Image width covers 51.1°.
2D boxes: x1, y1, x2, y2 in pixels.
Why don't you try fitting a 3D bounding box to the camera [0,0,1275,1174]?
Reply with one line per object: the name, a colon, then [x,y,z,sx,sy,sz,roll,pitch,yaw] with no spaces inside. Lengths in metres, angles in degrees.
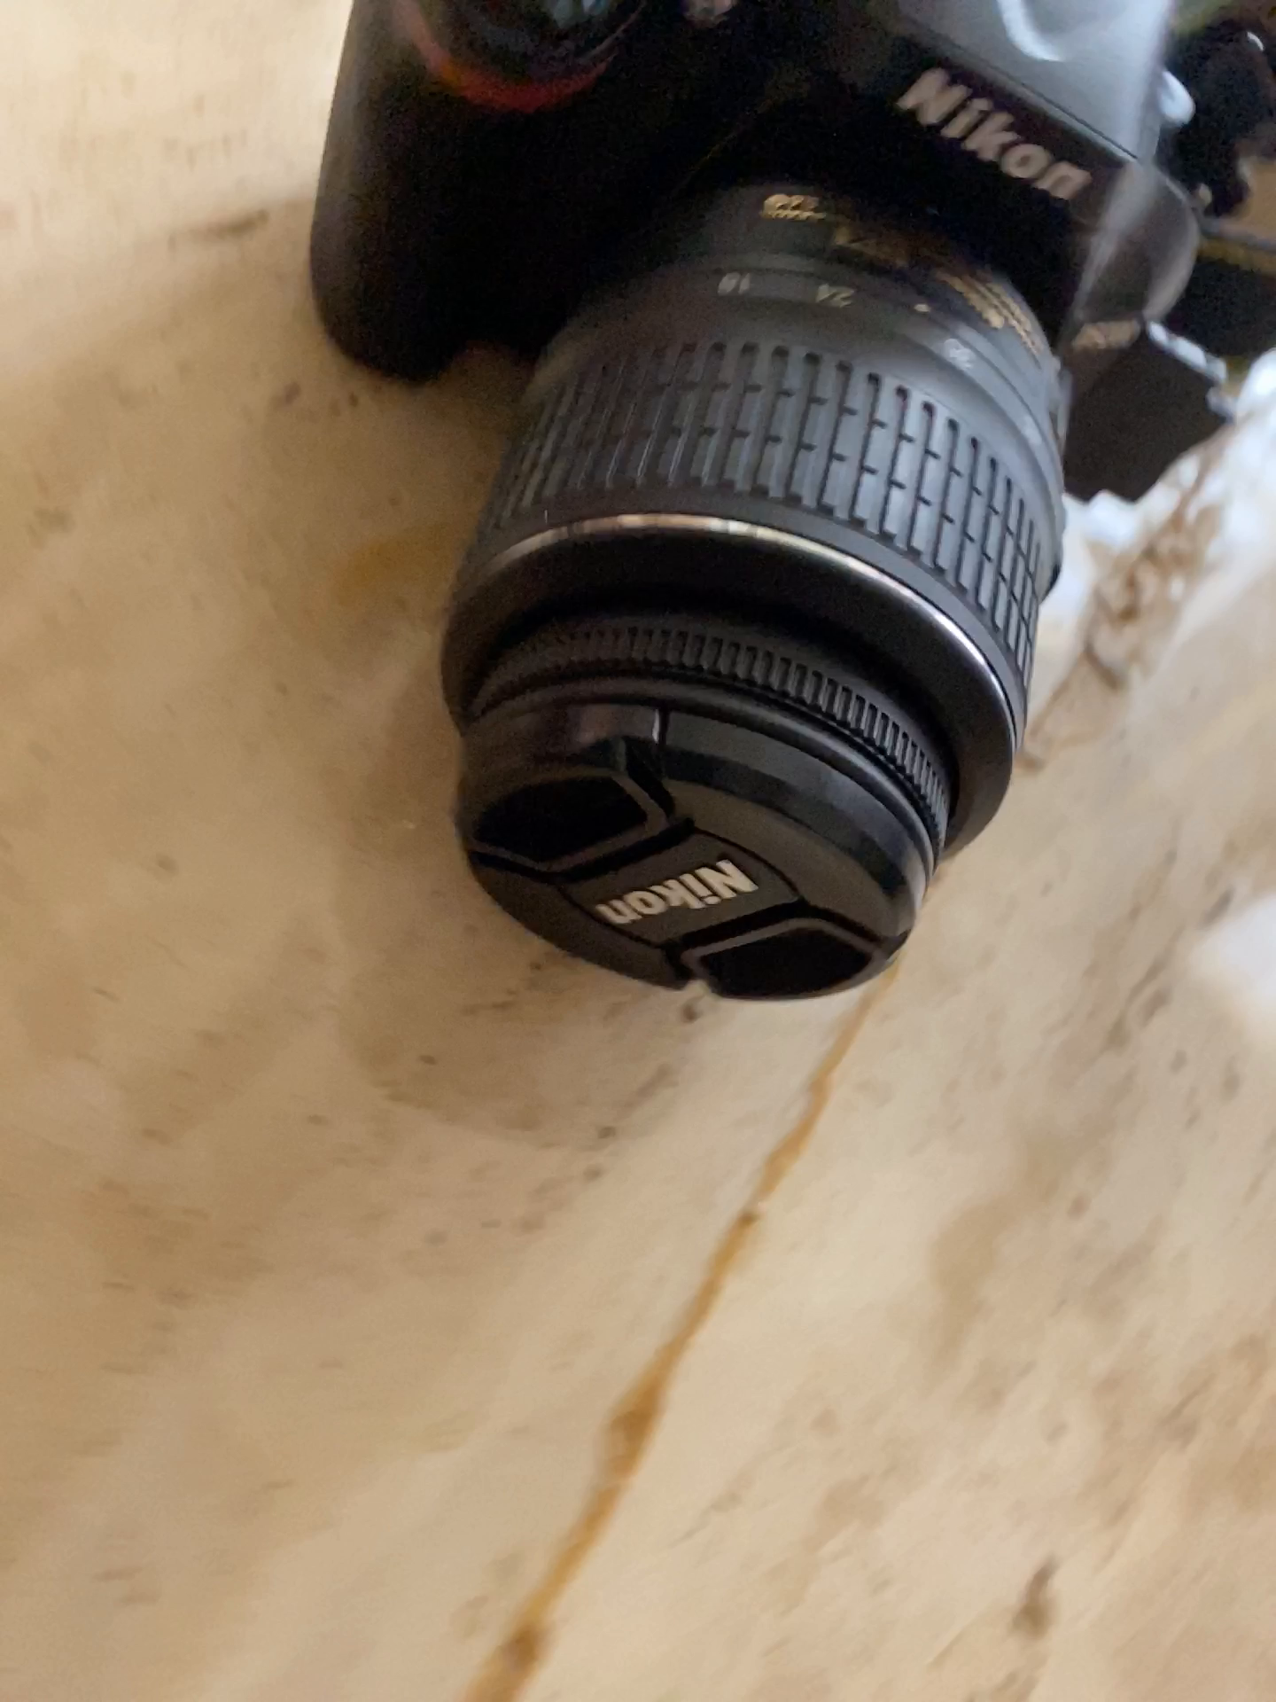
camera: [0.021,-0.069,0.178,0.152,0.100,0.159,22,56,-12]
